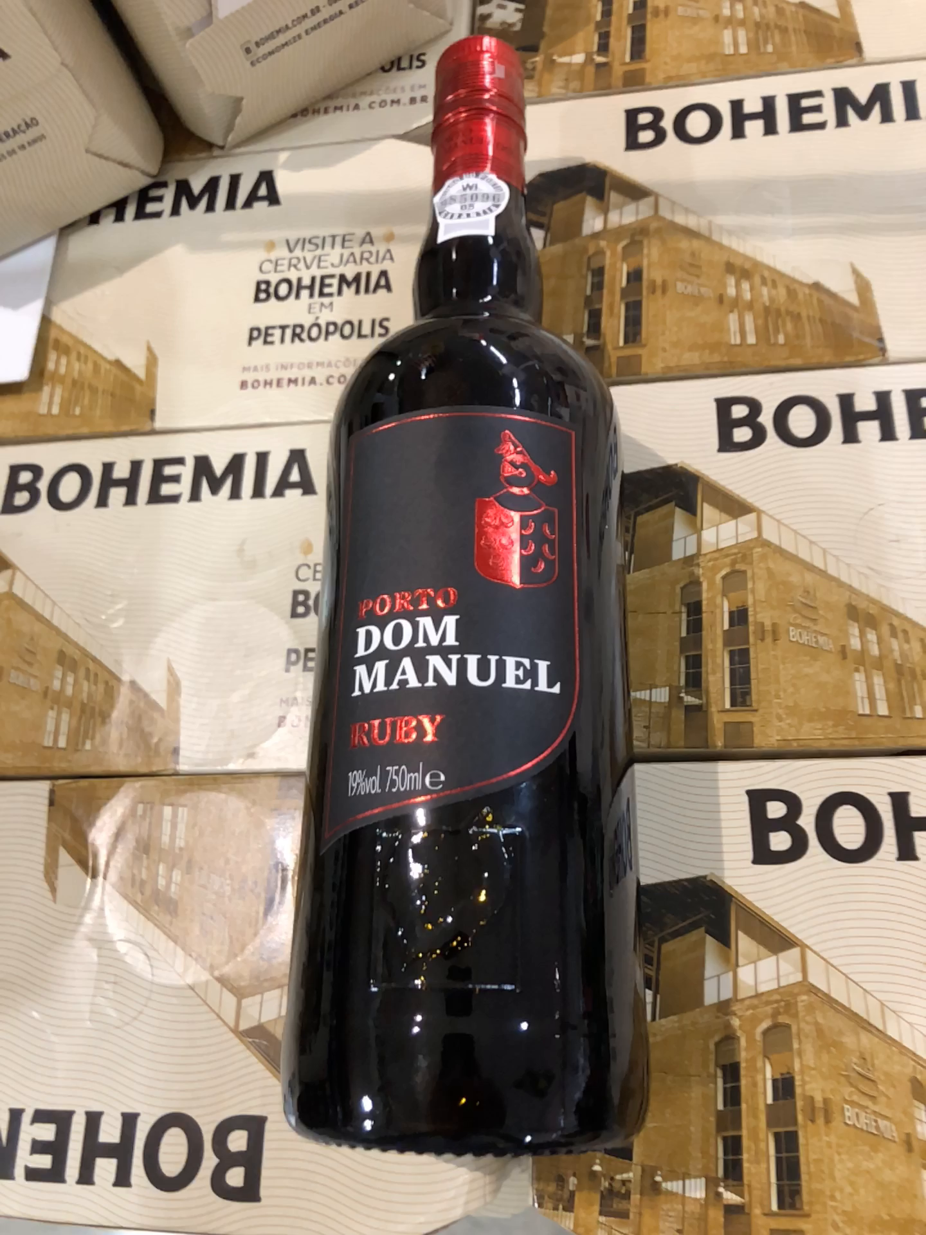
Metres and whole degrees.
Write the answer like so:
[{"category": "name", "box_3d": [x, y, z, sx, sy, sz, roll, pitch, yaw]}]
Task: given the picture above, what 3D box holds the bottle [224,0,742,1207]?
[{"category": "bottle", "box_3d": [0.007, -0.042, 0.270, 0.090, 0.070, 0.331, -1, 69, 4]}]
